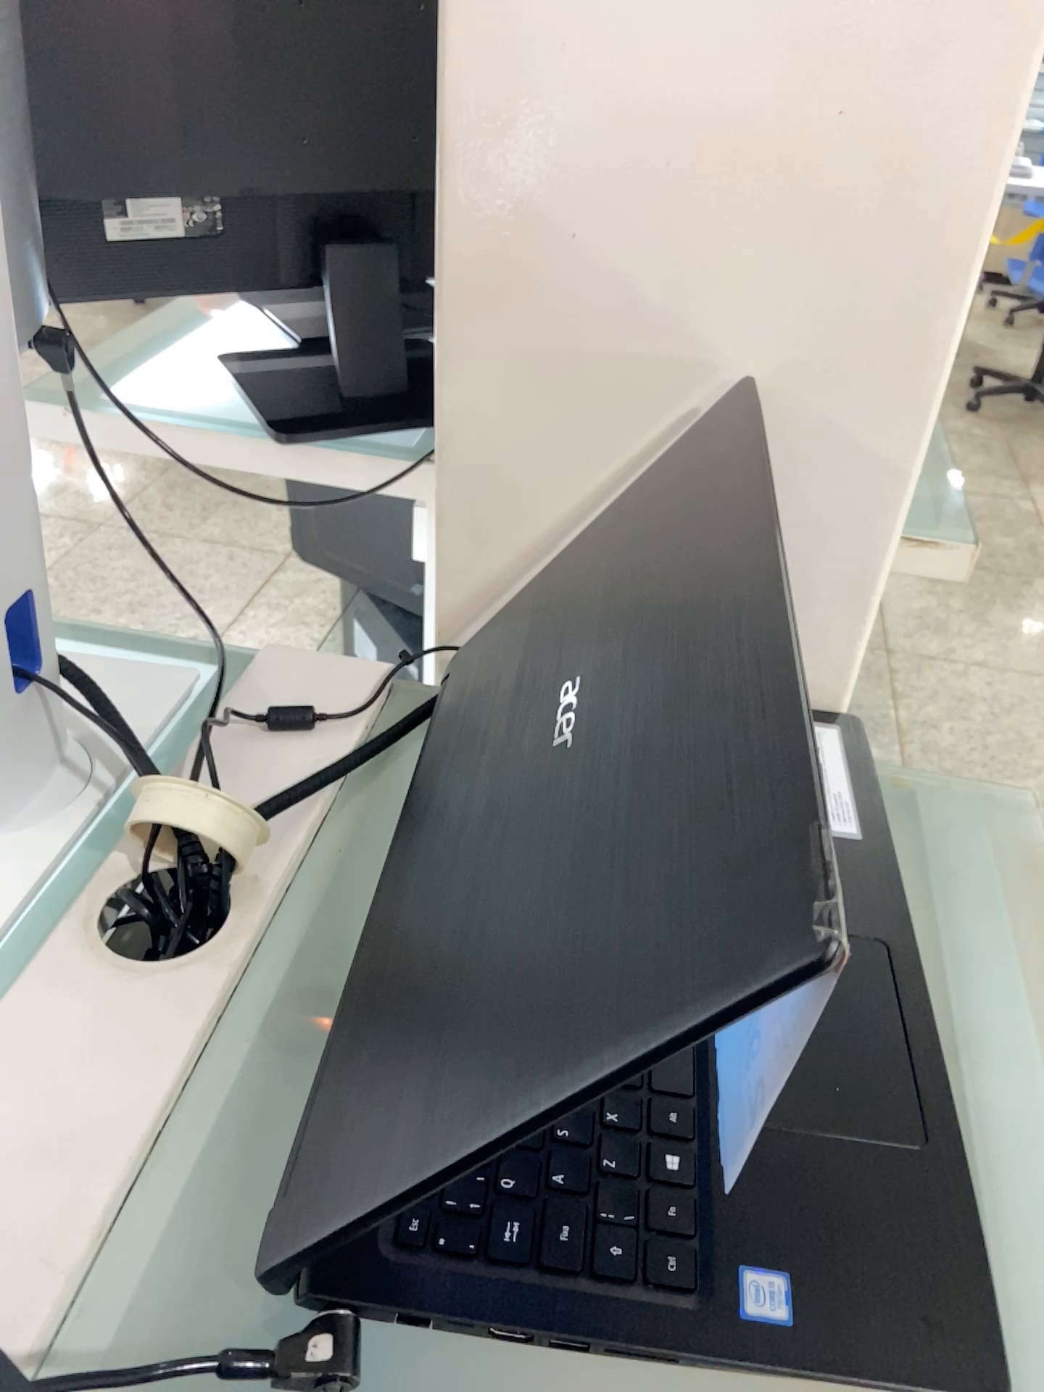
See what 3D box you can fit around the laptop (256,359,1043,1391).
[{"bbox_3d":[0.072,0.030,0.450,0.233,0.193,0.369,8,36,3],"label":"laptop"}]
